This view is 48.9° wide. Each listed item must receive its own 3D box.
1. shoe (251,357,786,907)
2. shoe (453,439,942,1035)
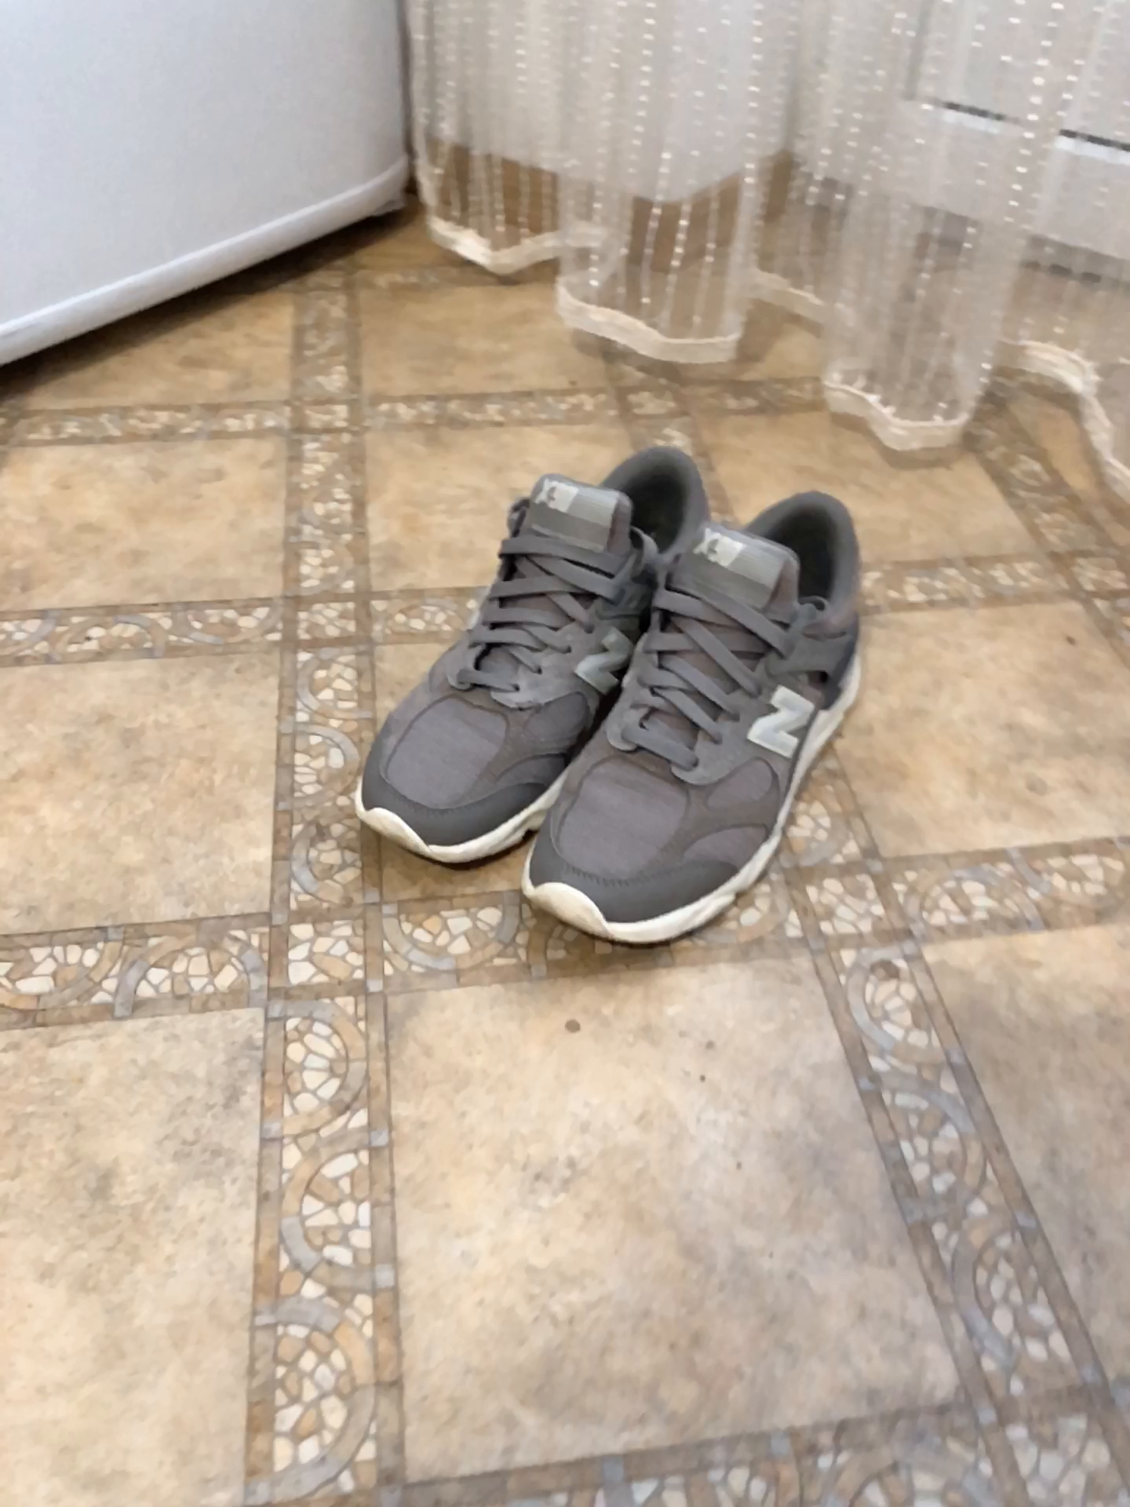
[{"bbox_3d":[-0.009,-0.072,0.598,0.100,0.119,0.271,26,48,23],"label":"shoe"},{"bbox_3d":[0.069,-0.023,0.580,0.100,0.119,0.271,24,47,21],"label":"shoe"}]
